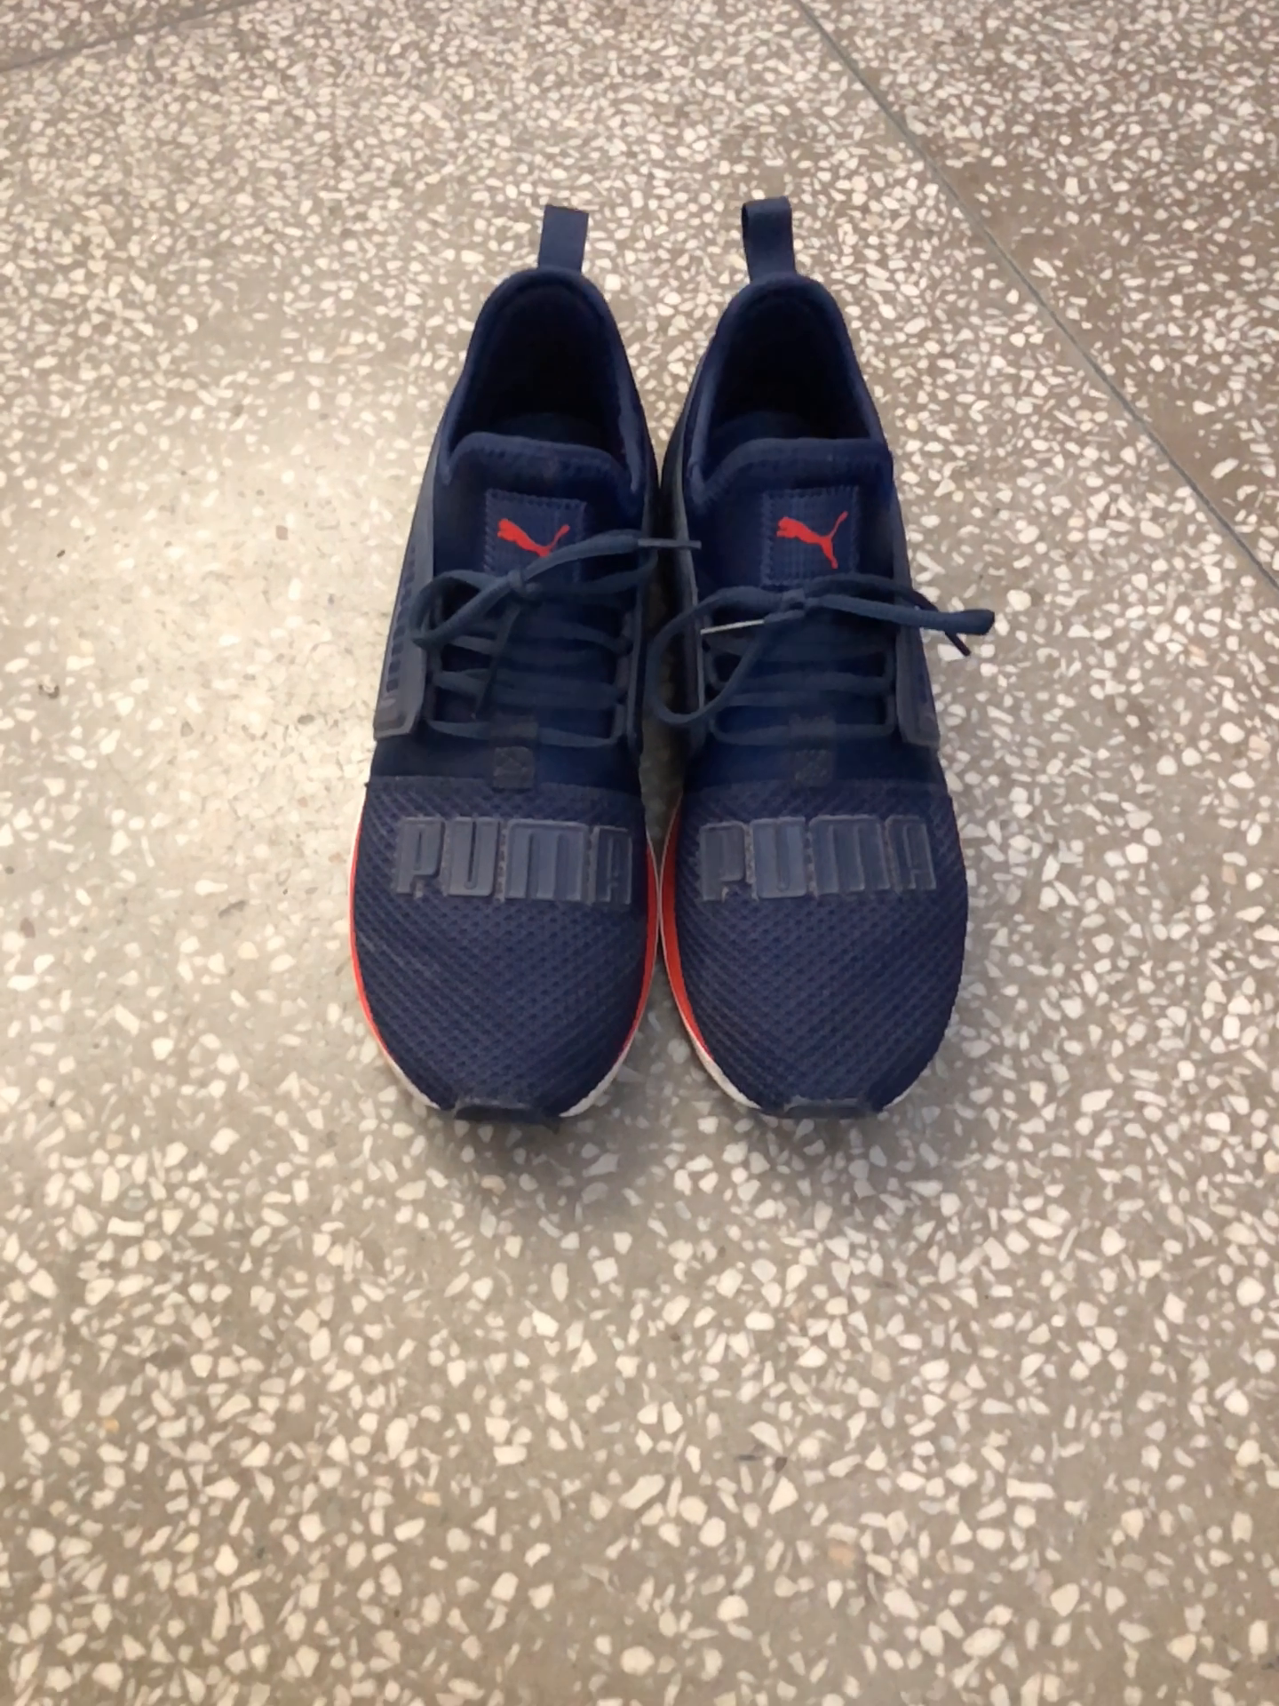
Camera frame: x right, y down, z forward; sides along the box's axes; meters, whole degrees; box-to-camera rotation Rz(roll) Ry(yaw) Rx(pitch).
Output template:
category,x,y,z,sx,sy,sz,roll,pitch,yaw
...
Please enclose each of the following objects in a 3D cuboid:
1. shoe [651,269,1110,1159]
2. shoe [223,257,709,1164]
category,x,y,z,sx,sy,sz,roll,pitch,yaw
shoe,0.059,-0.045,0.447,0.107,0.113,0.258,1,64,-1
shoe,-0.040,-0.047,0.446,0.107,0.113,0.258,4,64,0
